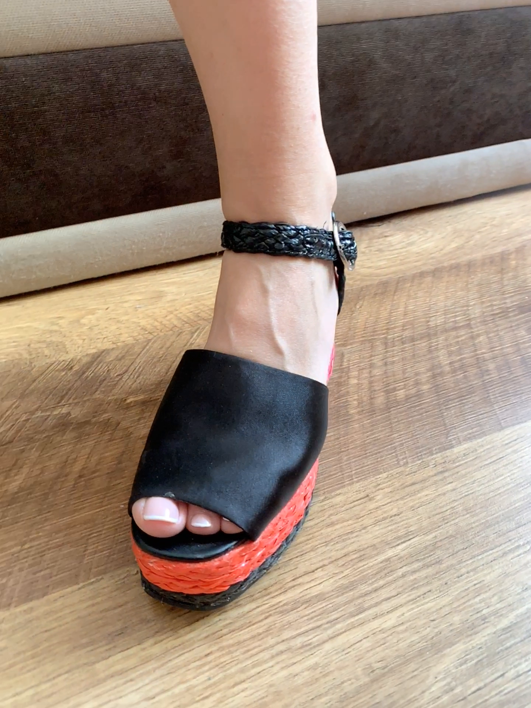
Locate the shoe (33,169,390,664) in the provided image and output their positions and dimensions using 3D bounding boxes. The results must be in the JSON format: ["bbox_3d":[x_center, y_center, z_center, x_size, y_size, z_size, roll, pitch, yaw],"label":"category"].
[{"bbox_3d":[0.000,0.008,0.302,0.089,0.124,0.241,11,41,13],"label":"shoe"}]
